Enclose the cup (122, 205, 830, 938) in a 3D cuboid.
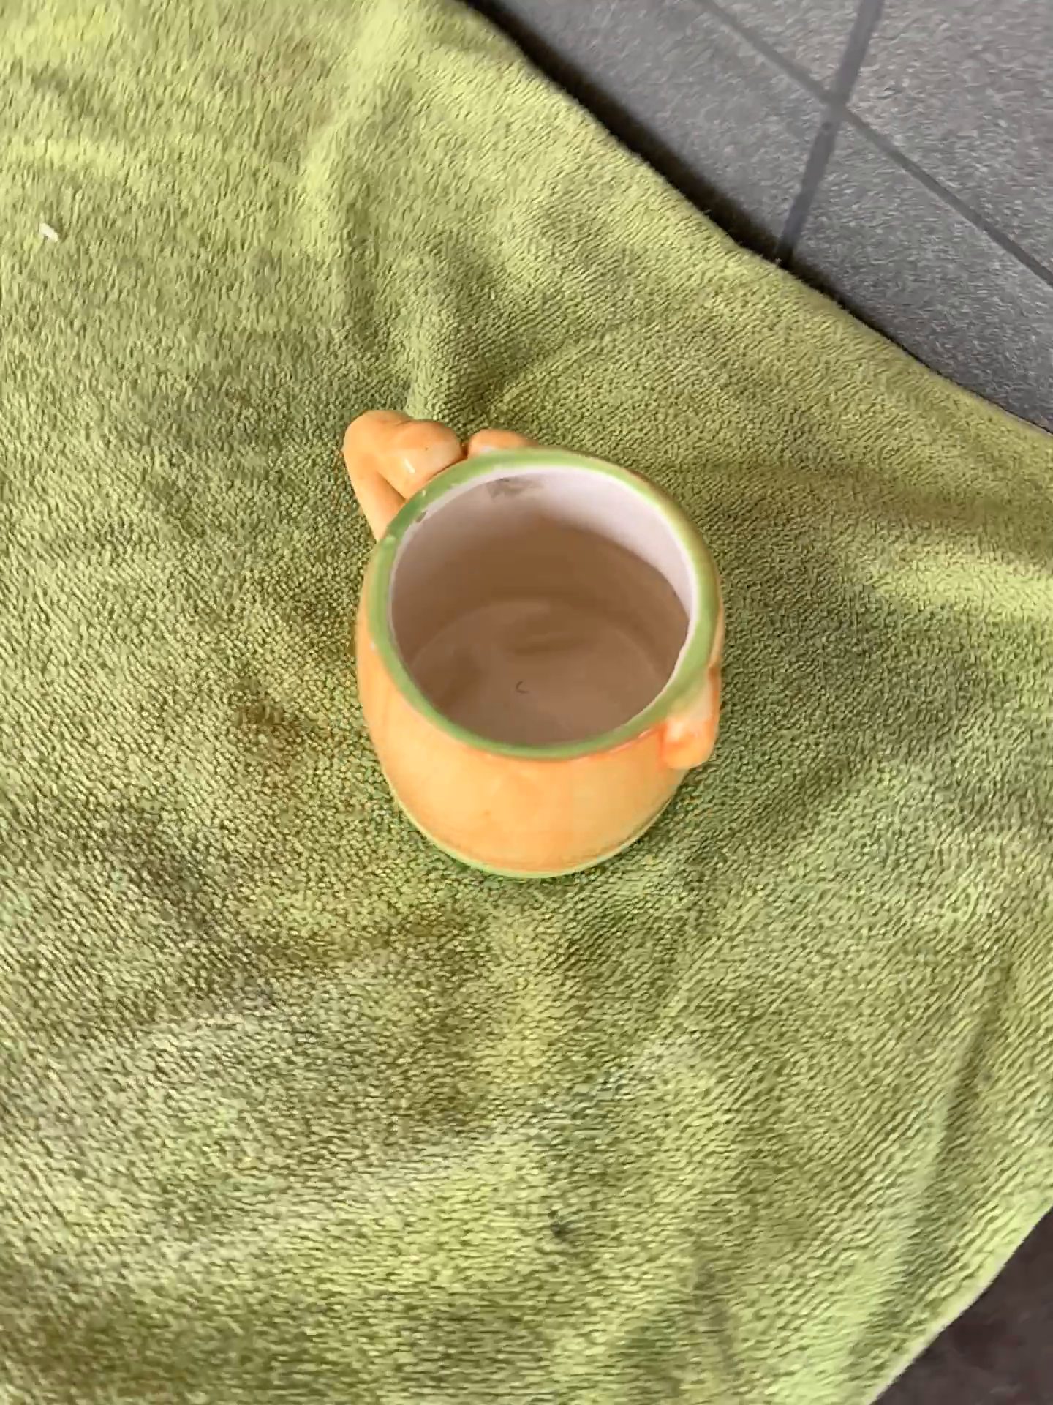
[{"bbox_3d":[-0.015,-0.026,0.270,0.080,0.100,0.130,-39,75,-17],"label":"cup"}]
